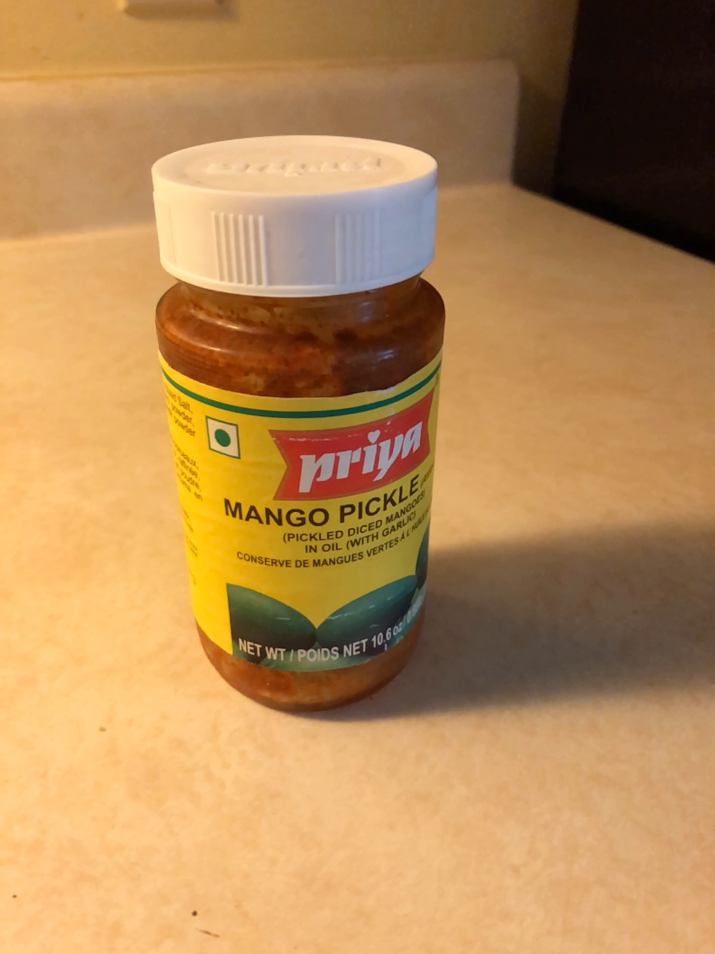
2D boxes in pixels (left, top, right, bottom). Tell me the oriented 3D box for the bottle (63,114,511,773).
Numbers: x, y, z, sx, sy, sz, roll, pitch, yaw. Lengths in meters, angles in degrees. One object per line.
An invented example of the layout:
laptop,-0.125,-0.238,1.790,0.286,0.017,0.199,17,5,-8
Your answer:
bottle,-0.017,-0.008,0.188,0.070,0.130,0.060,-12,34,-19
